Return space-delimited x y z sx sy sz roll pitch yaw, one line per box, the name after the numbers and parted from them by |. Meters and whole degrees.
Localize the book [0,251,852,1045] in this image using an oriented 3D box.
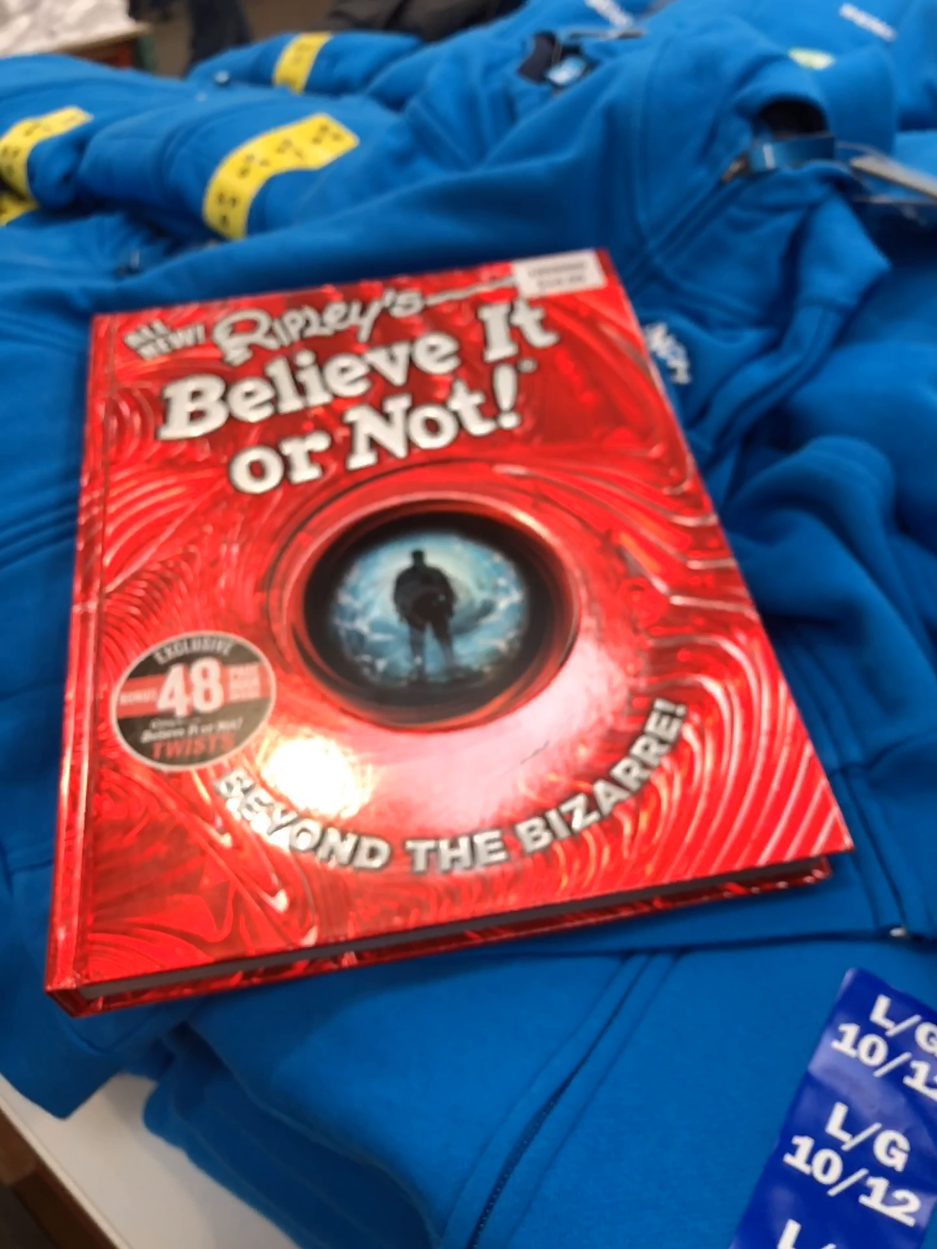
-0.033 -0.023 0.396 0.244 0.028 0.304 -8 54 -4 | book
